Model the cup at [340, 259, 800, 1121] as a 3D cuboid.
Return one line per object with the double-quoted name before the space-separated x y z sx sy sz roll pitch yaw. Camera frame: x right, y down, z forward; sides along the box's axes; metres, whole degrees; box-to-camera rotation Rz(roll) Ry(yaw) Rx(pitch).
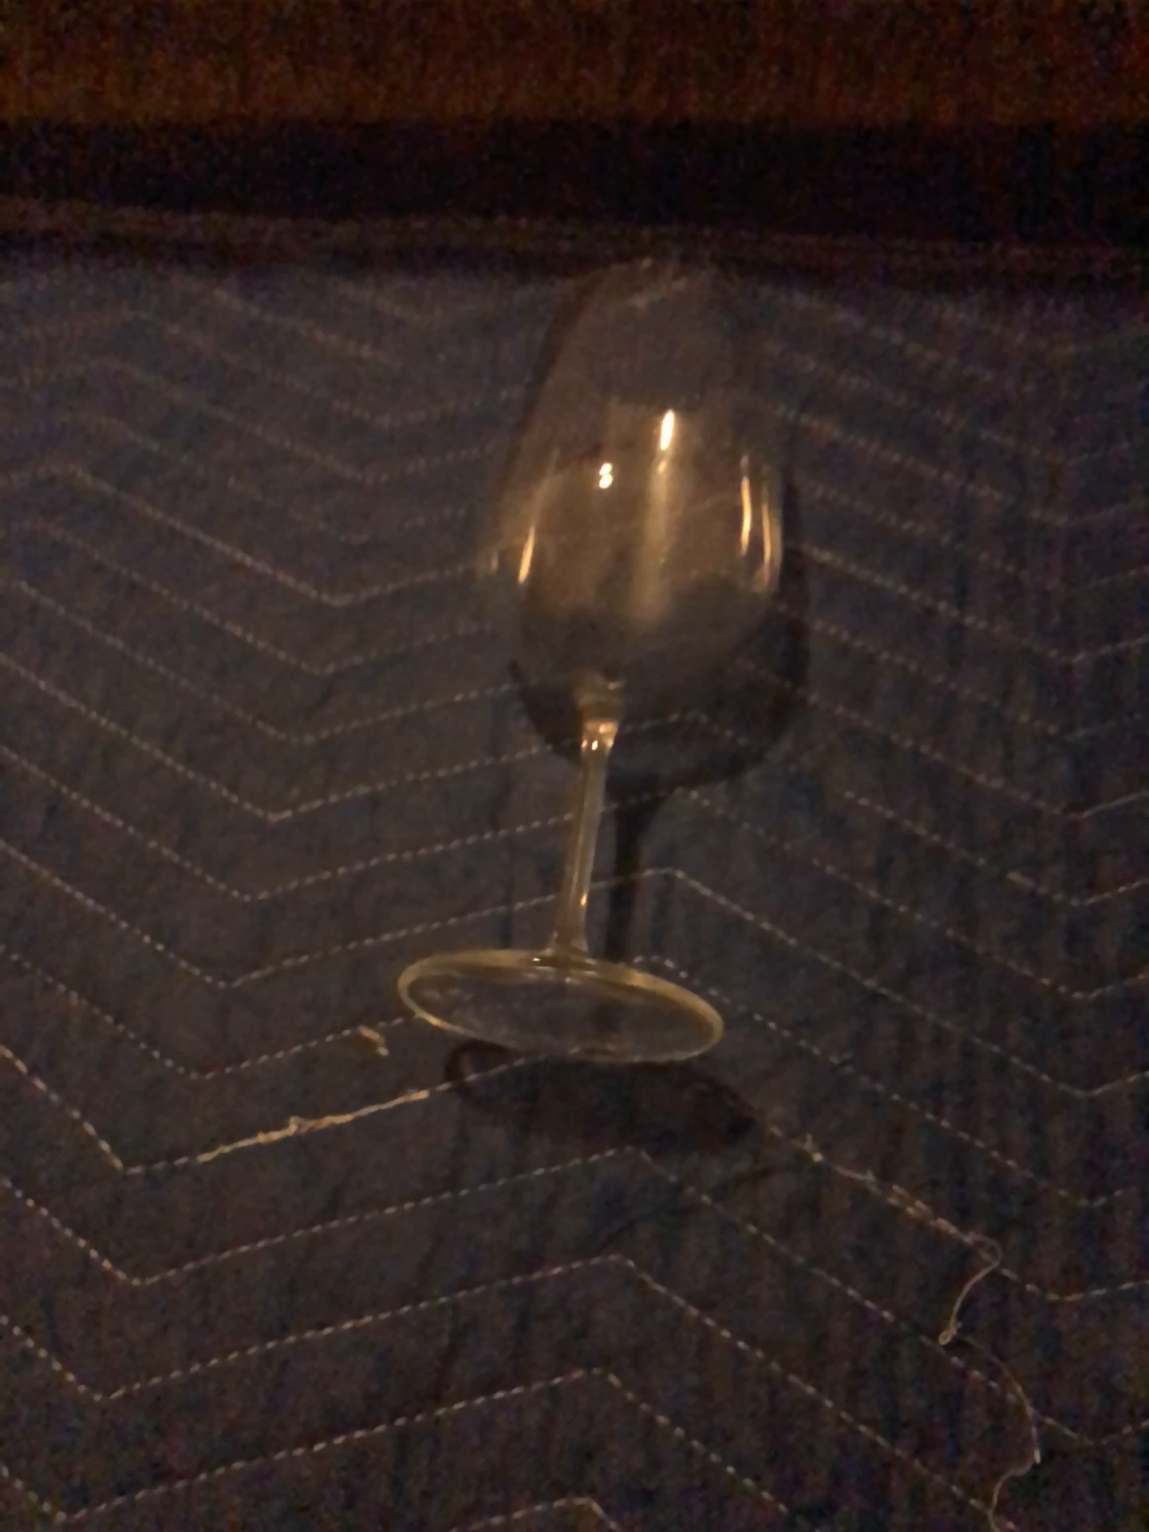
"cup" 0.010 -0.025 0.345 0.080 0.090 0.211 5 63 8
